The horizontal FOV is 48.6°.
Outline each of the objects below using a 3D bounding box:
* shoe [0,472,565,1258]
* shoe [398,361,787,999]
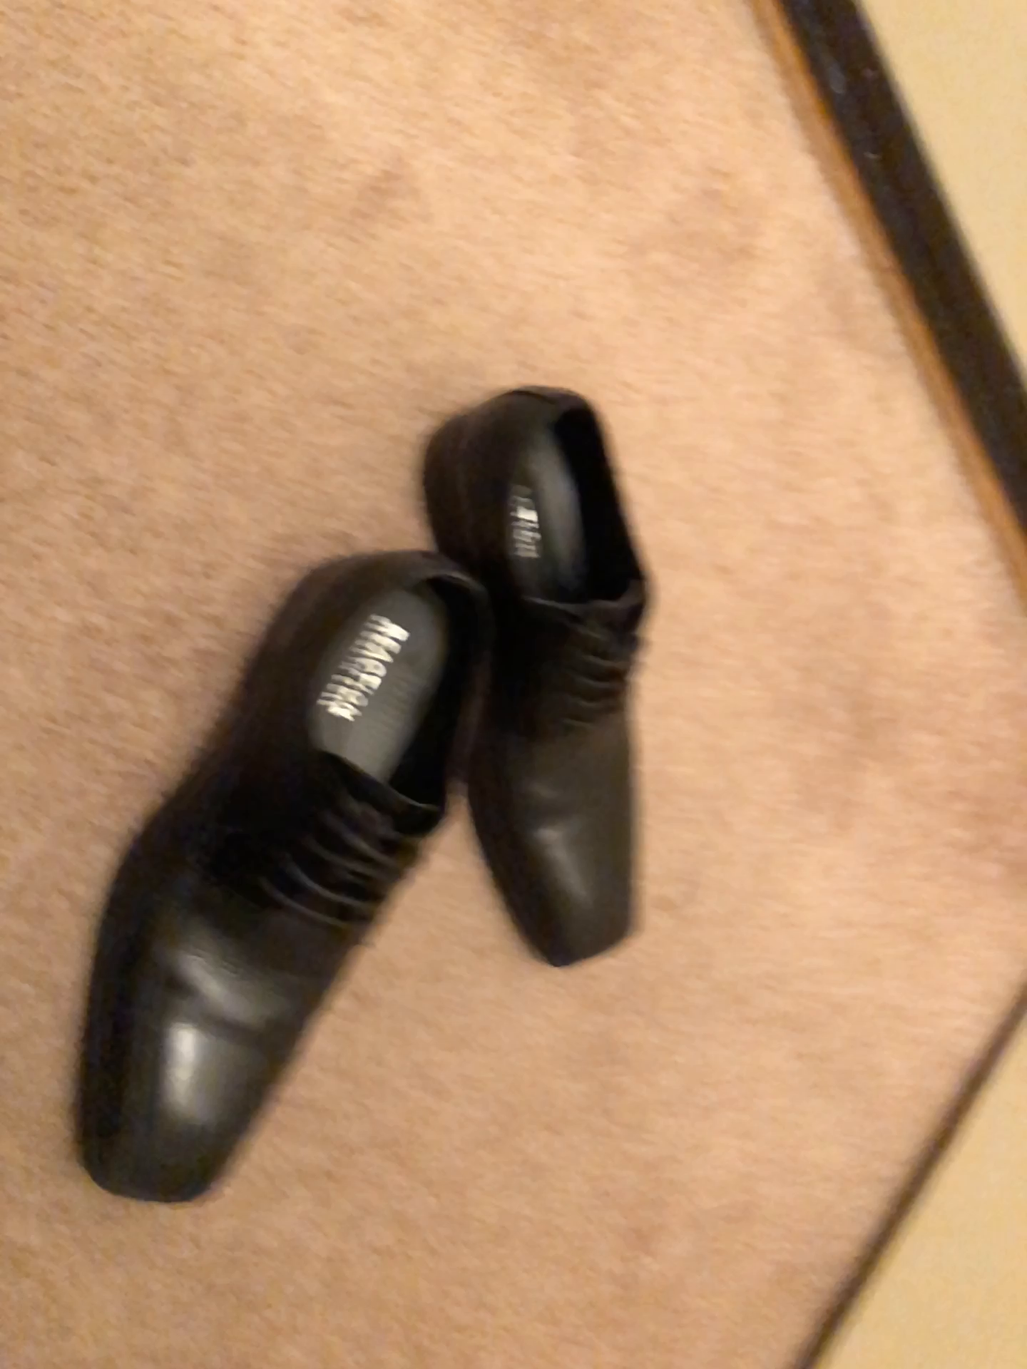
[{"bbox_3d":[-0.095,0.069,0.488,0.110,0.108,0.283,29,71,-29],"label":"shoe"},{"bbox_3d":[0.040,-0.007,0.599,0.115,0.110,0.297,-11,93,-34],"label":"shoe"}]
